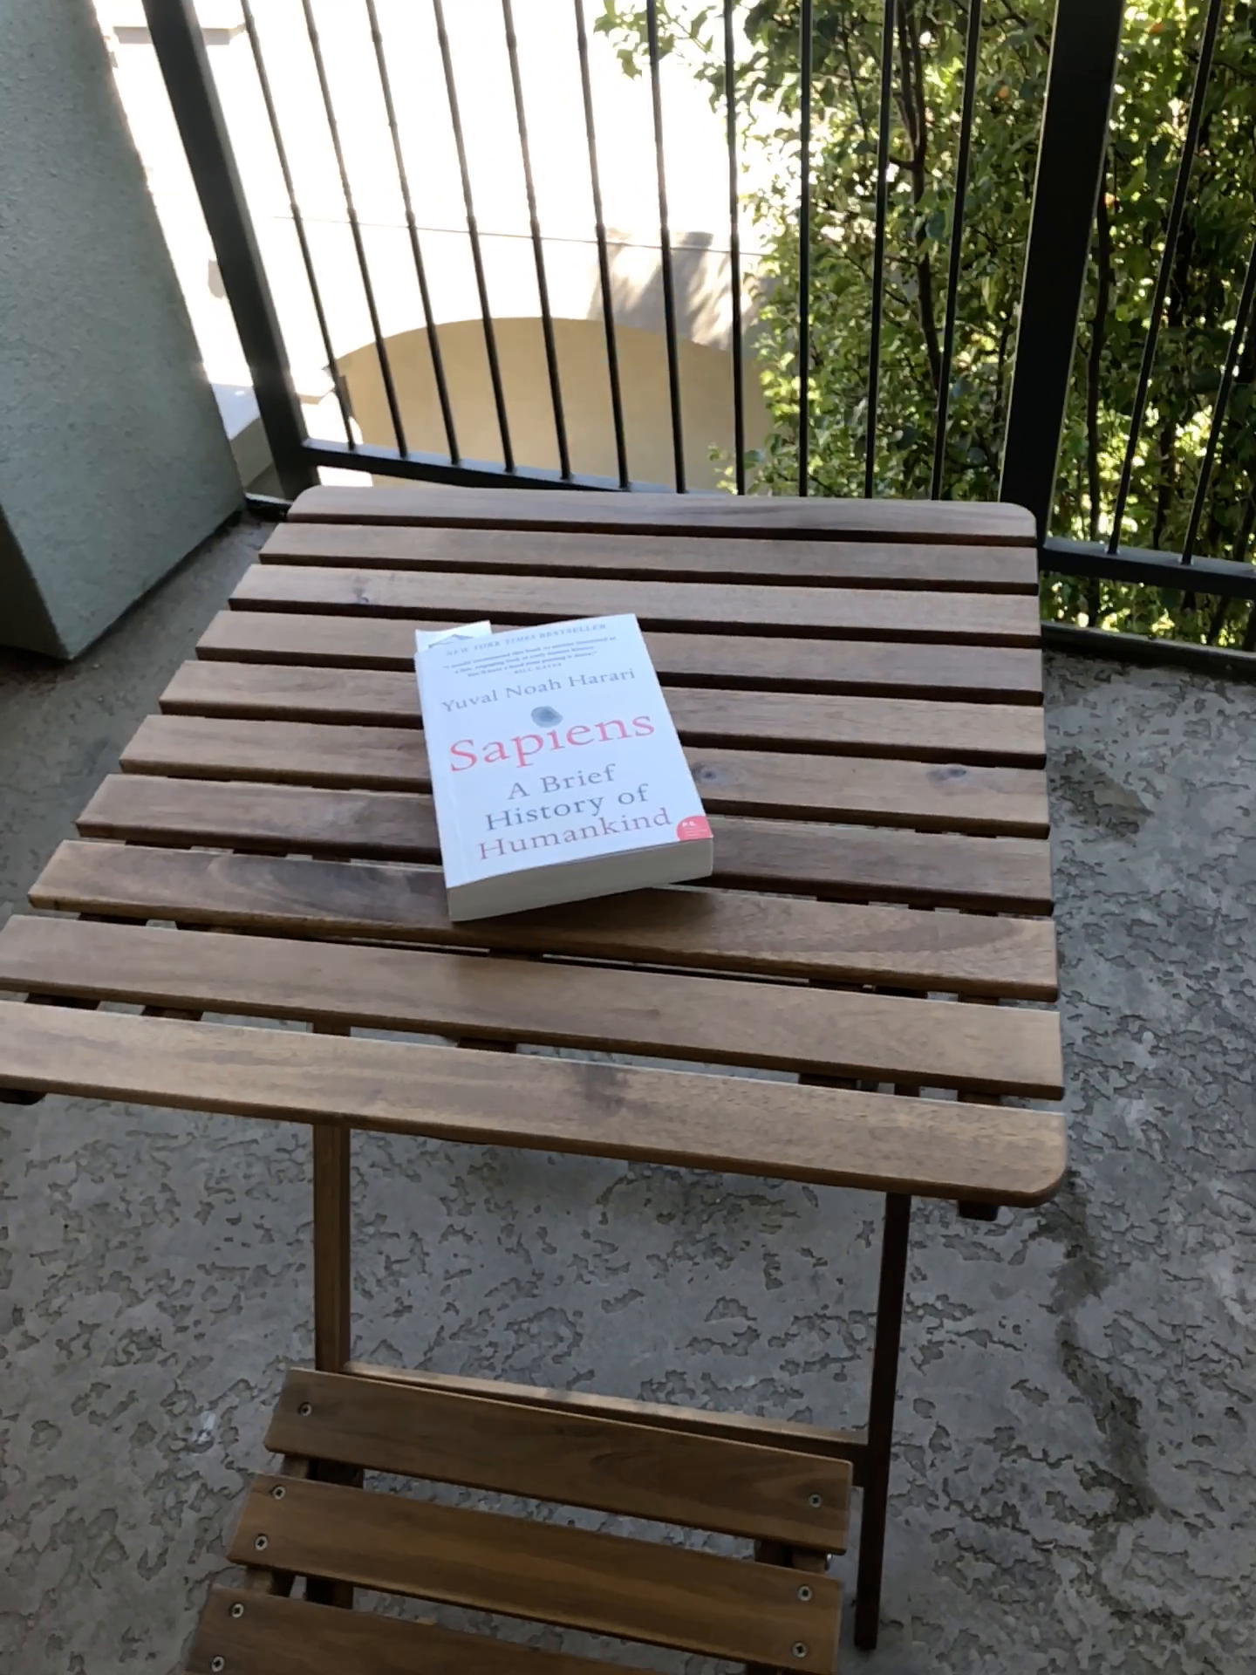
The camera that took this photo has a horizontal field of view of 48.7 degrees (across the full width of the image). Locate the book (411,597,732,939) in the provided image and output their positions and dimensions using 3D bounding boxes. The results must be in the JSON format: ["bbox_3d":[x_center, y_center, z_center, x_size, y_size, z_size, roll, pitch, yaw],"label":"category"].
[{"bbox_3d":[-0.043,-0.053,0.864,0.160,0.040,0.241,-11,44,-5],"label":"book"}]
